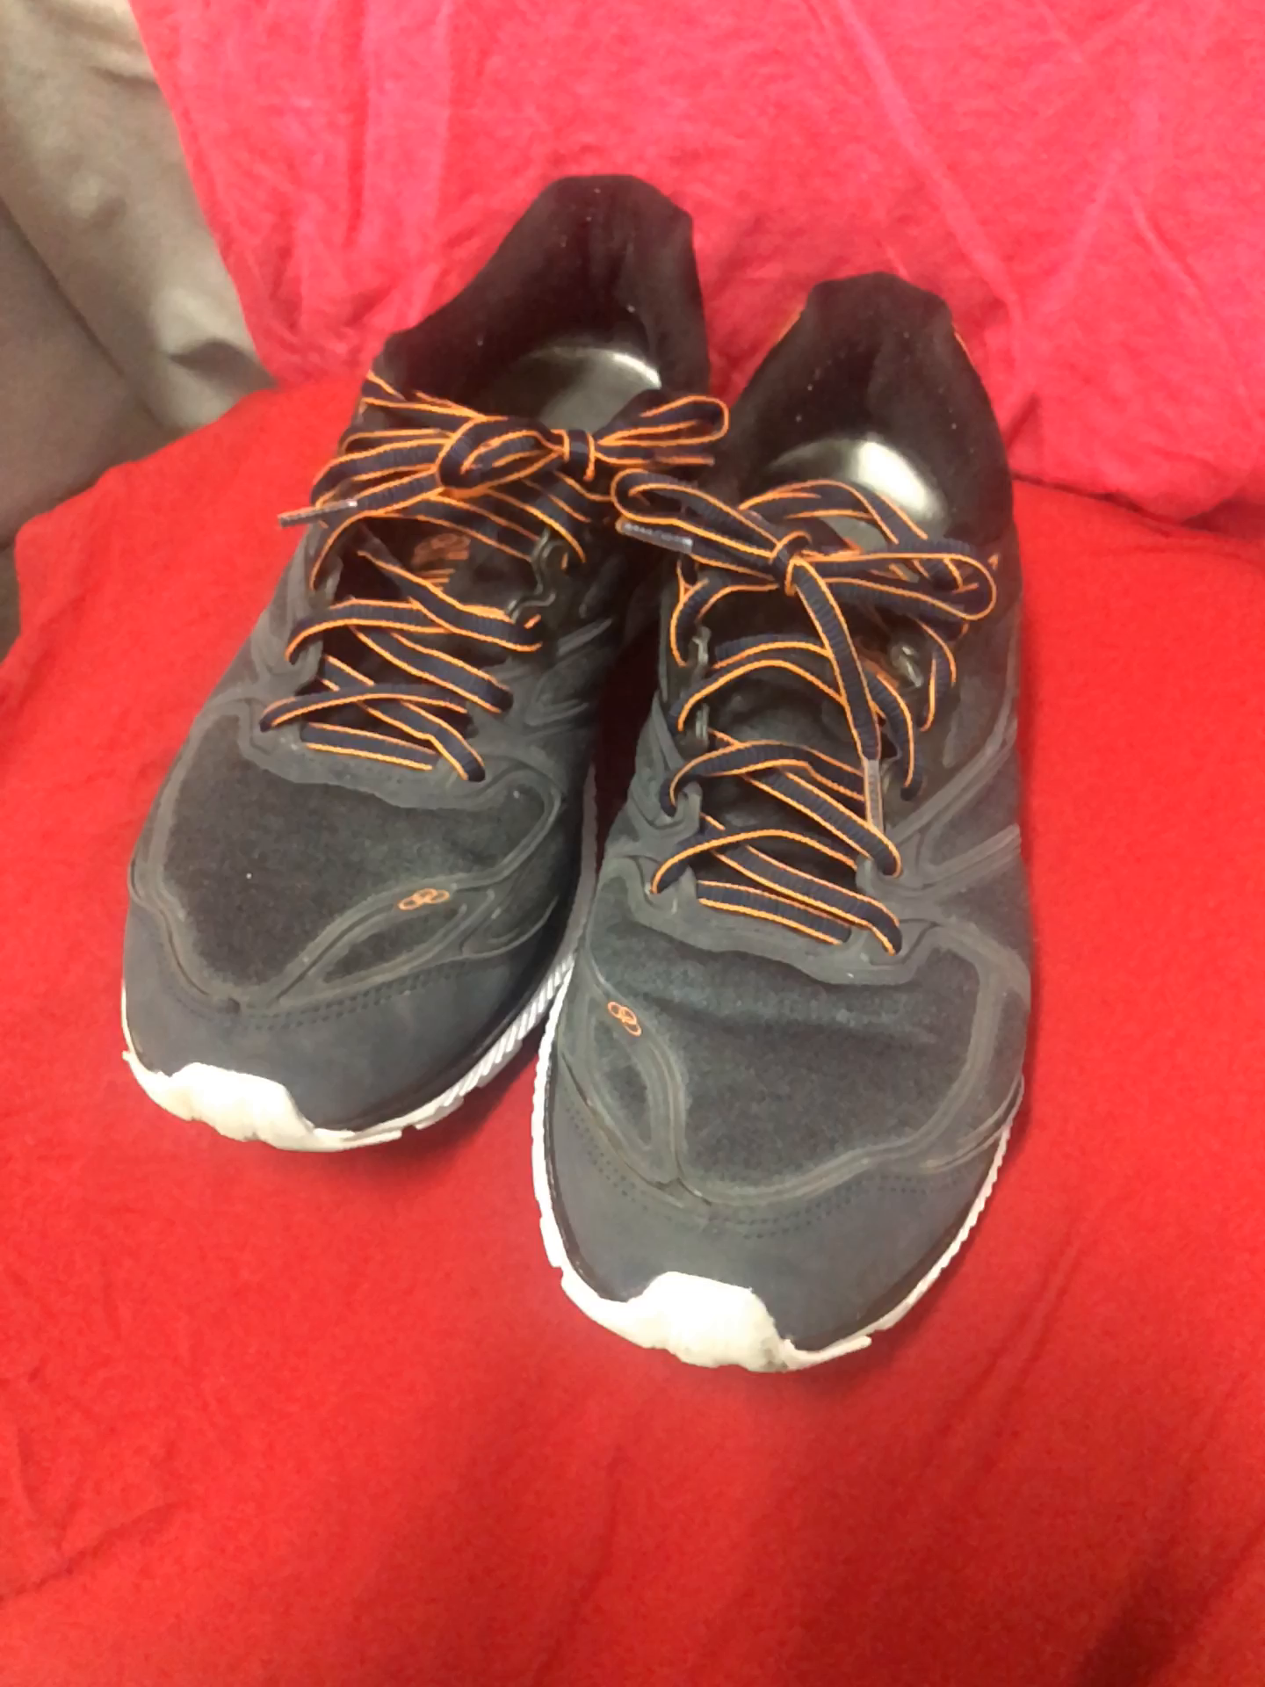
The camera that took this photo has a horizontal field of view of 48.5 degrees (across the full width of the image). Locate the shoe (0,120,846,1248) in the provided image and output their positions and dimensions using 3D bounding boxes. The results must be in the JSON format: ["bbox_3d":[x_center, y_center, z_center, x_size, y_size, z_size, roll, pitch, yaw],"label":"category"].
[{"bbox_3d":[-0.038,-0.063,0.349,0.110,0.089,0.282,16,53,9],"label":"shoe"}]

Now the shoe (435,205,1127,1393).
[{"bbox_3d":[0.045,-0.033,0.347,0.110,0.099,0.282,10,52,4],"label":"shoe"}]
